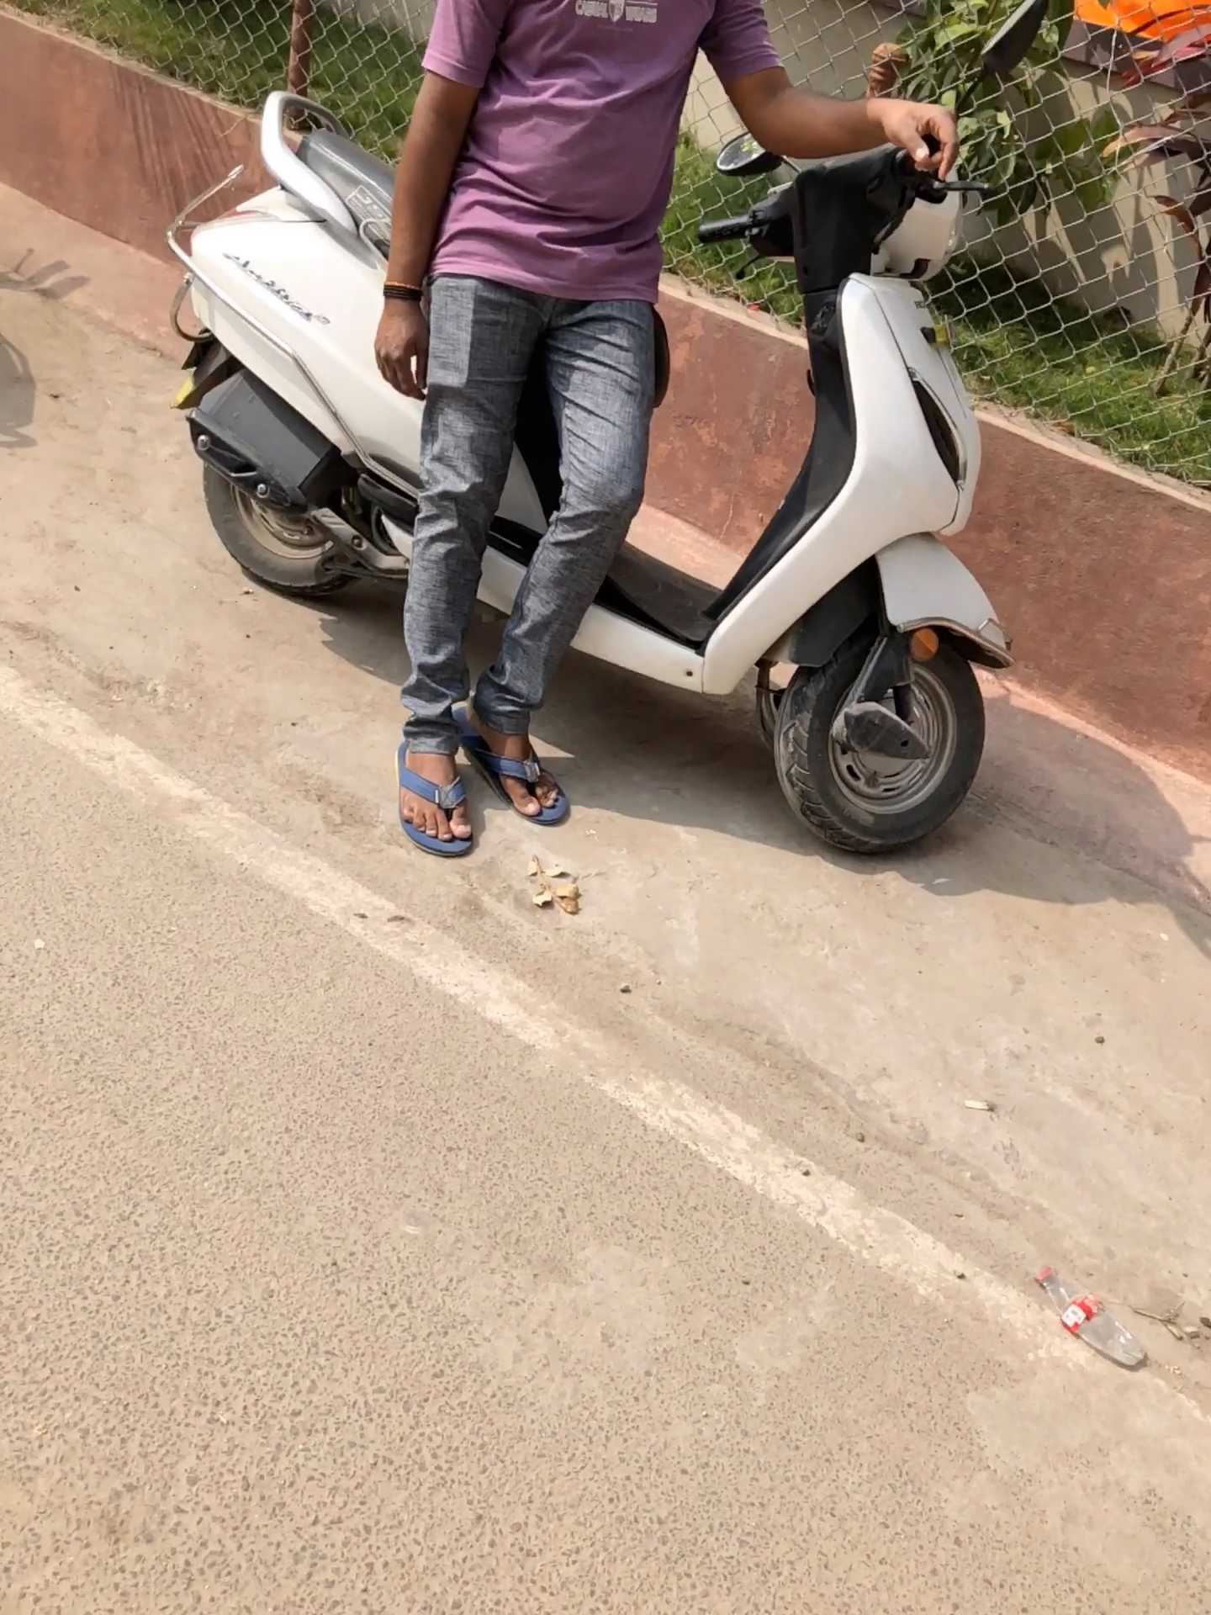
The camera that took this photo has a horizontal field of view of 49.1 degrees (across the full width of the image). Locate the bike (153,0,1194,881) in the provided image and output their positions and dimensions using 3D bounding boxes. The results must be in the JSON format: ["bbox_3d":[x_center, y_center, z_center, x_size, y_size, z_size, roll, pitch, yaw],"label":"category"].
[{"bbox_3d":[0.062,-0.730,2.448,1.550,1.112,0.622,21,34,9],"label":"bike"}]
